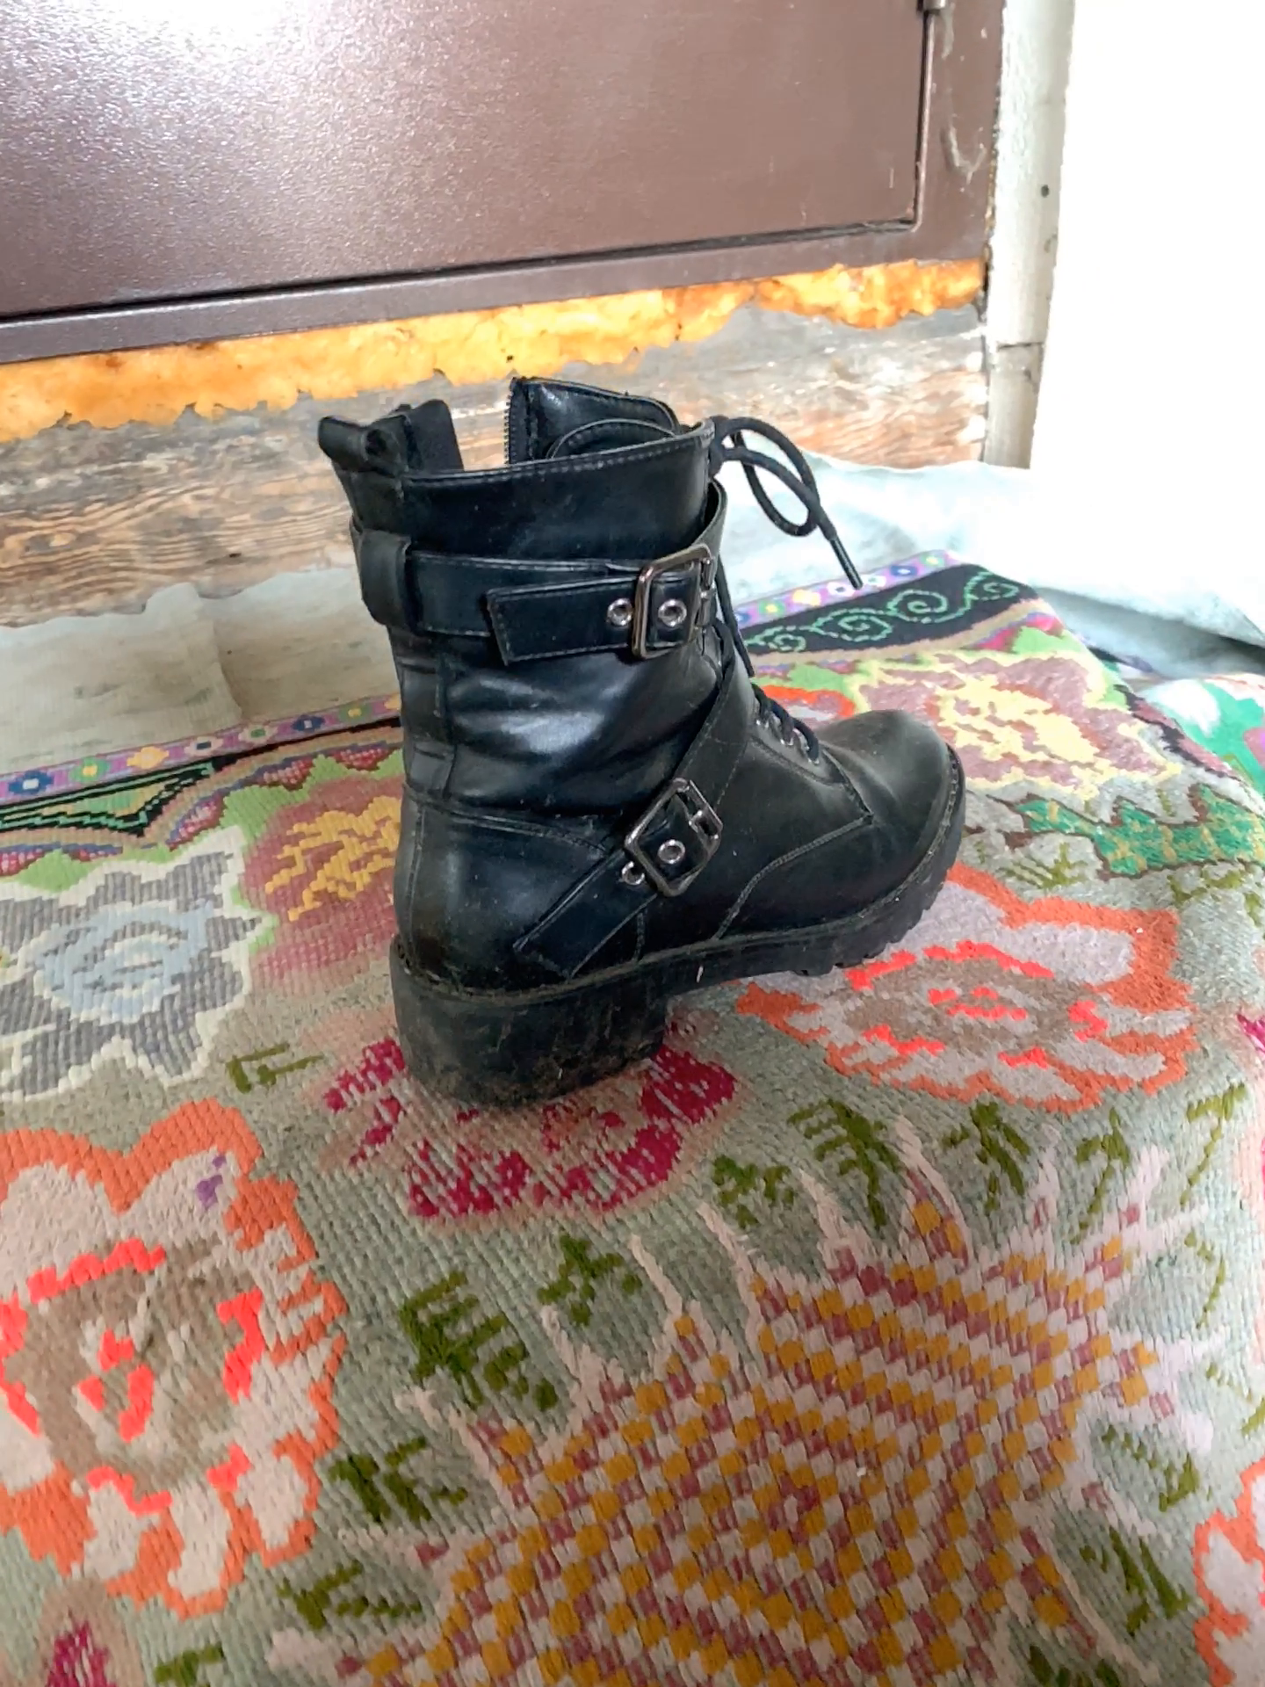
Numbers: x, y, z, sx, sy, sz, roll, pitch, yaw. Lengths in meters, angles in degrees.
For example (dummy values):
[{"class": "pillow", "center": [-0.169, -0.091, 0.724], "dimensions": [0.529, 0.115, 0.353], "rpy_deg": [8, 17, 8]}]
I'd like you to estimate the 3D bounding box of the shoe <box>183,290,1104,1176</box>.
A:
[{"class": "shoe", "center": [0.016, -0.048, 0.396], "dimensions": [0.241, 0.188, 0.091], "rpy_deg": [-22, 35, -29]}]
